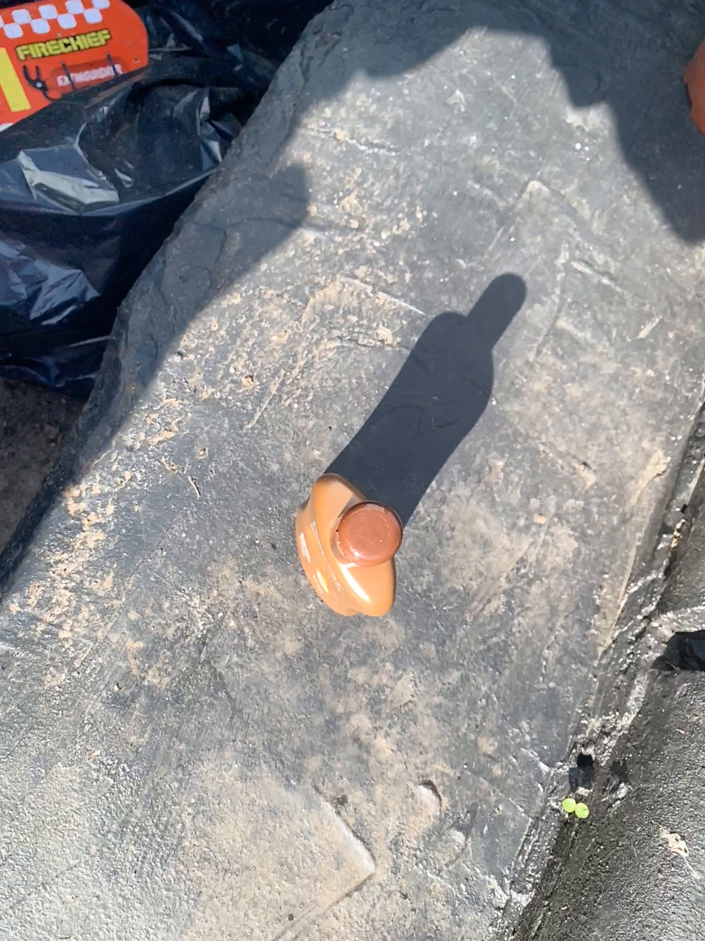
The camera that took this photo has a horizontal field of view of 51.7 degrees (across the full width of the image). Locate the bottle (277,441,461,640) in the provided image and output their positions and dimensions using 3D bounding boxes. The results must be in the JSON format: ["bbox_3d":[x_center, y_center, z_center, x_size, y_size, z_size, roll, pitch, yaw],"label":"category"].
[{"bbox_3d":[-0.001,0.042,0.366,0.040,0.150,0.070,-23,83,-13],"label":"bottle"}]
